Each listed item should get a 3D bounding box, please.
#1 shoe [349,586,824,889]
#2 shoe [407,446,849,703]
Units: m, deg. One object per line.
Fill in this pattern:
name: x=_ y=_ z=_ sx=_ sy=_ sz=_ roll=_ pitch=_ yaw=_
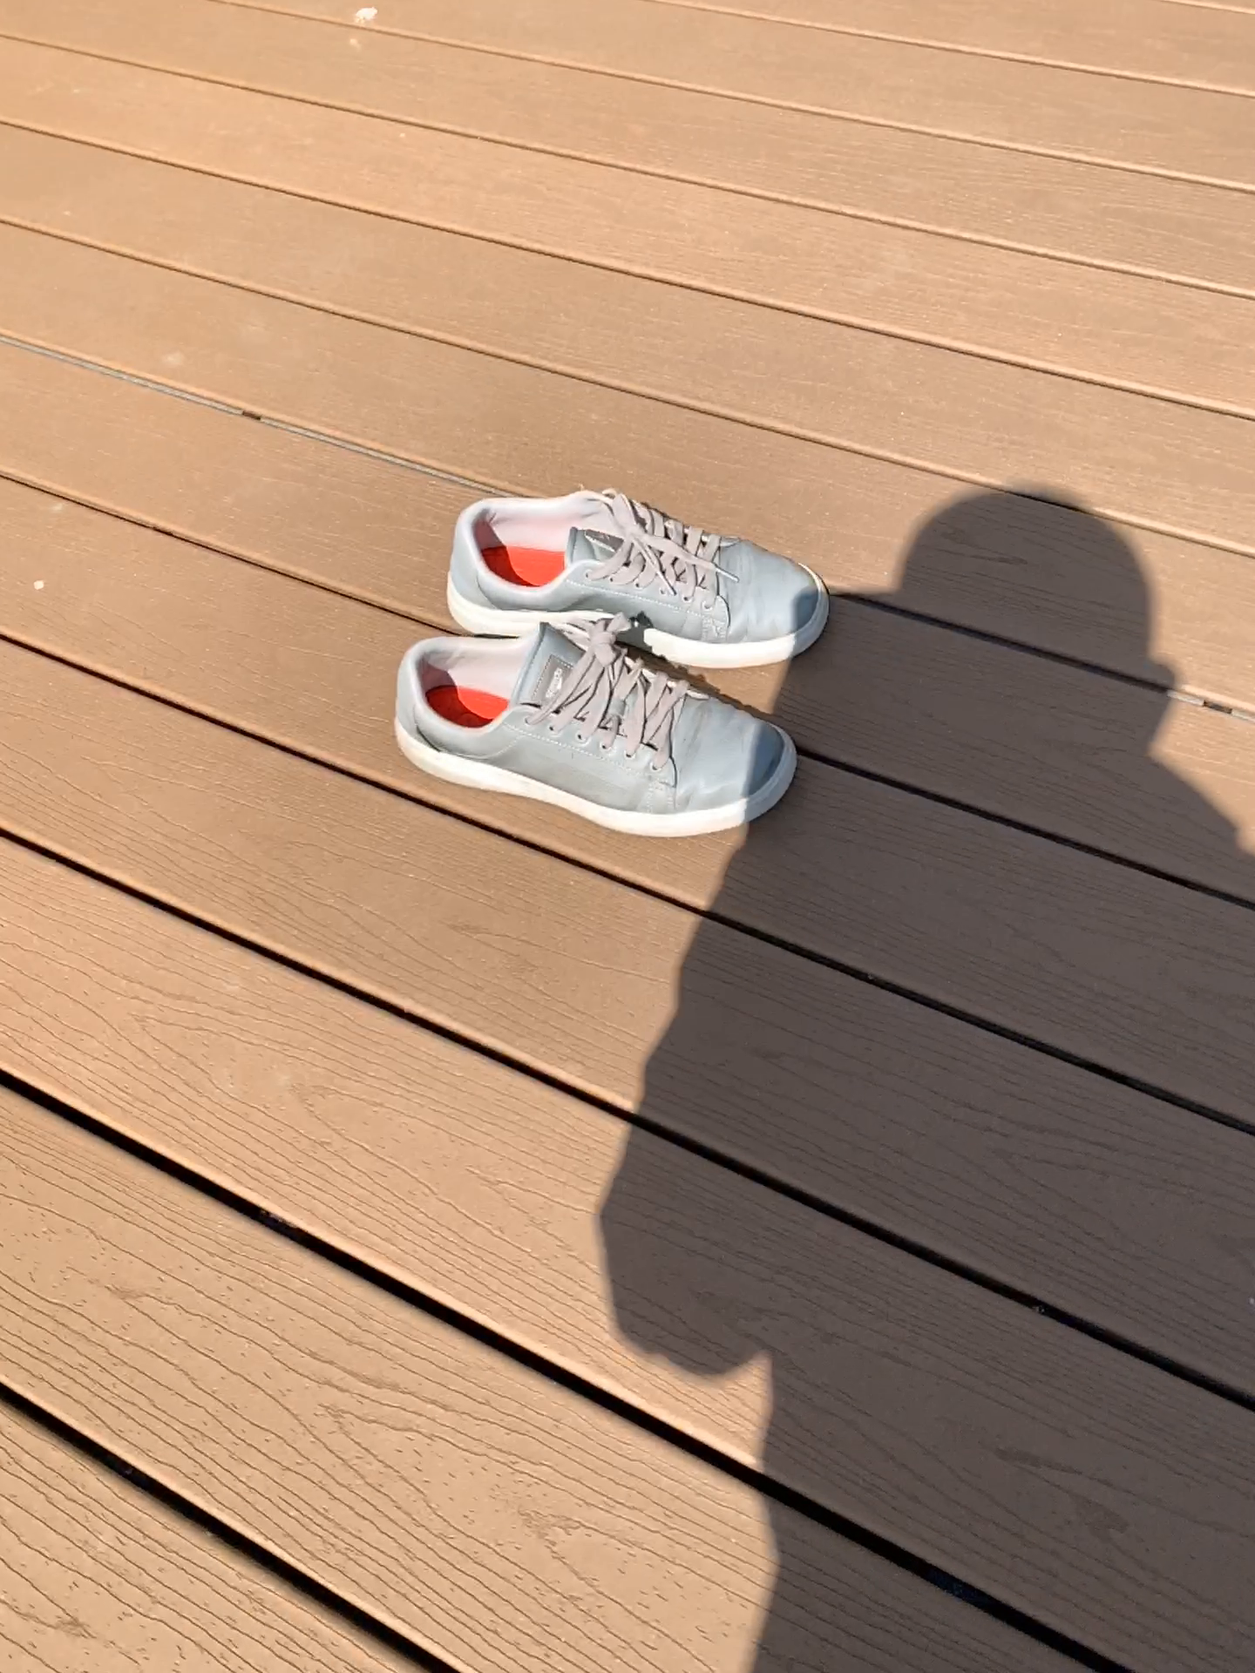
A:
shoe: x=-0.023 y=-0.070 z=0.878 sx=0.290 sy=0.100 sz=0.120 roll=12 pitch=61 yaw=13
shoe: x=0.005 y=-0.192 z=0.931 sx=0.290 sy=0.100 sz=0.120 roll=8 pitch=61 yaw=11
